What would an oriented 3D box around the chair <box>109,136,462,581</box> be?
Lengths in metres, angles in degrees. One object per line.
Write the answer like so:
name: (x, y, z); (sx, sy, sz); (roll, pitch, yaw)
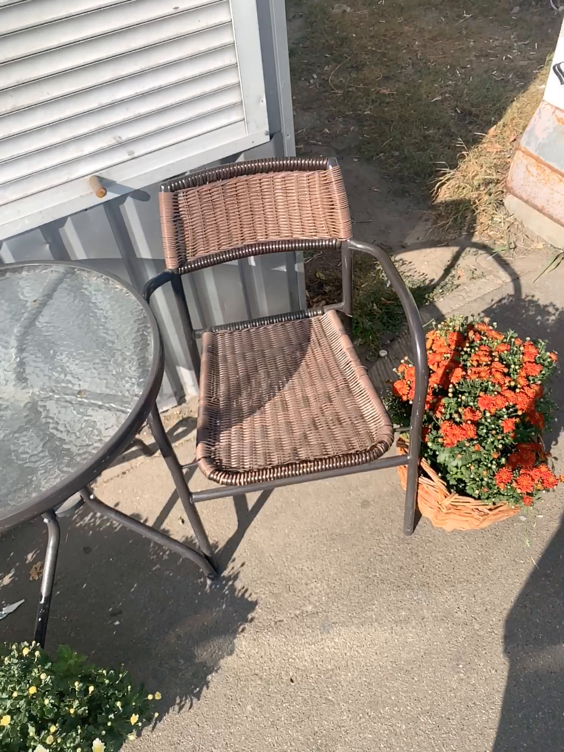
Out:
chair: (-0.023, -0.034, 1.409); (0.570, 0.717, 0.693); (-11, 49, -3)
